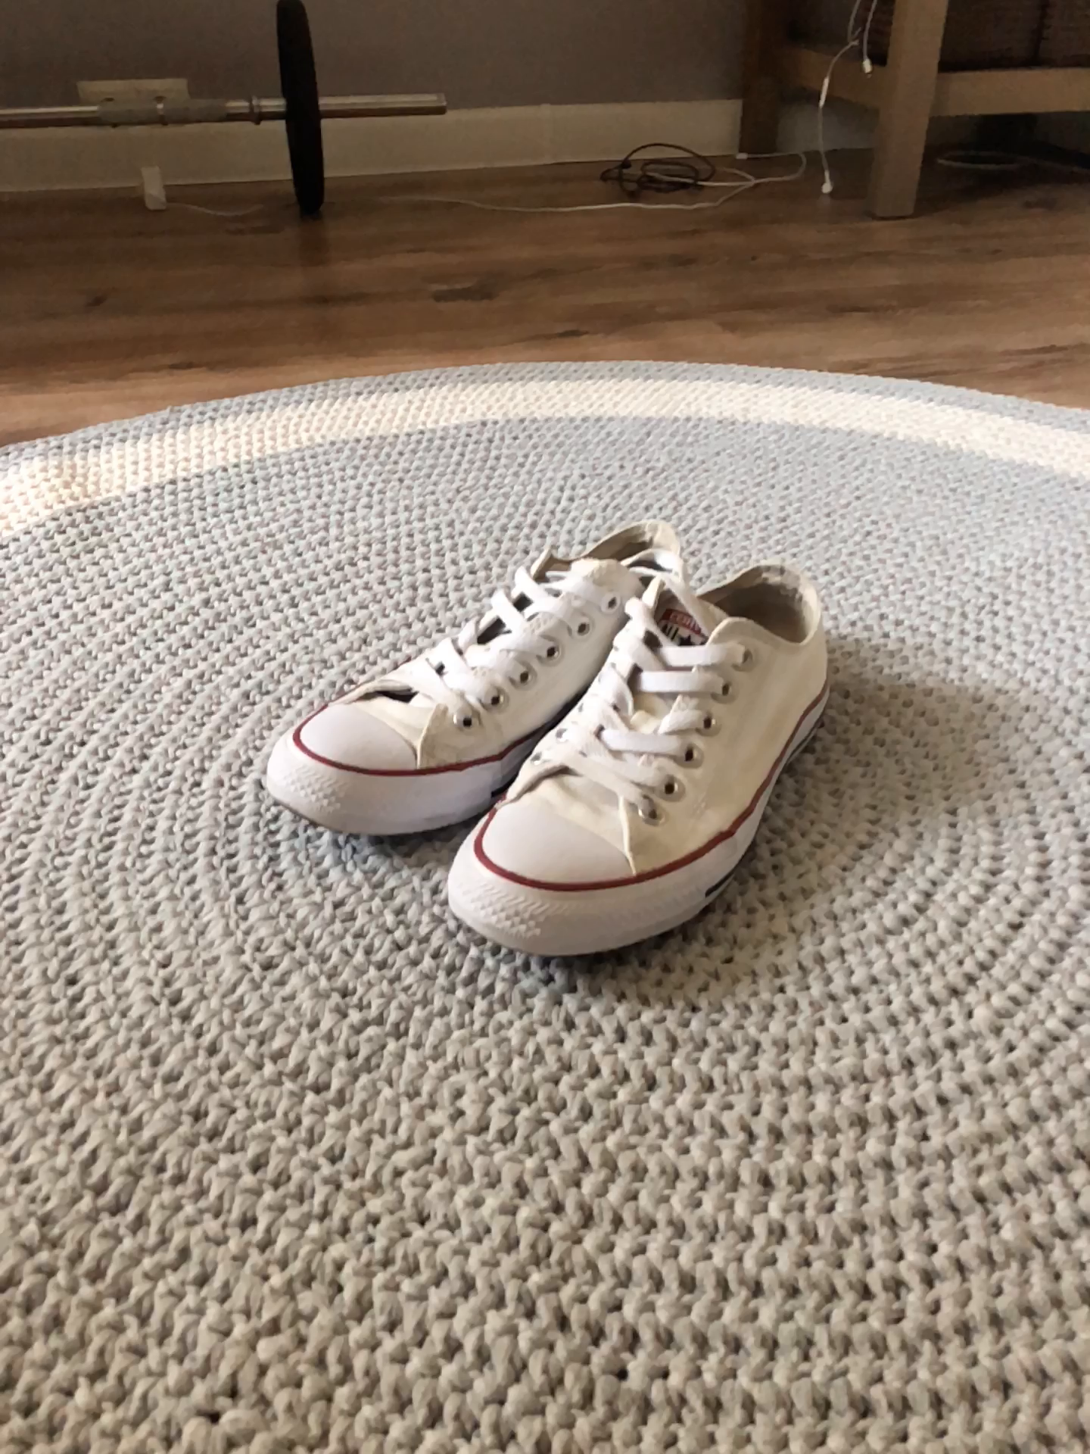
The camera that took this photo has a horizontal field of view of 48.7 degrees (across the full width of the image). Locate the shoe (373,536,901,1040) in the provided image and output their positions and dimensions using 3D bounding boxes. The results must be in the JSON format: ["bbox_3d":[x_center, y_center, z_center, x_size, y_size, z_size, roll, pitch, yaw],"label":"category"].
[{"bbox_3d":[0.049,0.007,0.497,0.100,0.070,0.241,21,39,28],"label":"shoe"}]

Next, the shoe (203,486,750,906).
[{"bbox_3d":[-0.019,-0.029,0.554,0.100,0.070,0.248,26,41,33],"label":"shoe"}]
